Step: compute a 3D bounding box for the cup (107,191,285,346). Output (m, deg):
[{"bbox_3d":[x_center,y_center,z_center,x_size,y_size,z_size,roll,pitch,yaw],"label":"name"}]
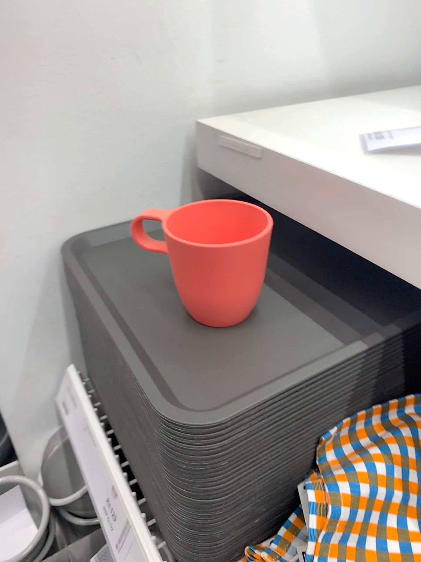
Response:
[{"bbox_3d":[-0.006,-0.013,0.331,0.110,0.080,0.070,8,33,15],"label":"cup"}]
